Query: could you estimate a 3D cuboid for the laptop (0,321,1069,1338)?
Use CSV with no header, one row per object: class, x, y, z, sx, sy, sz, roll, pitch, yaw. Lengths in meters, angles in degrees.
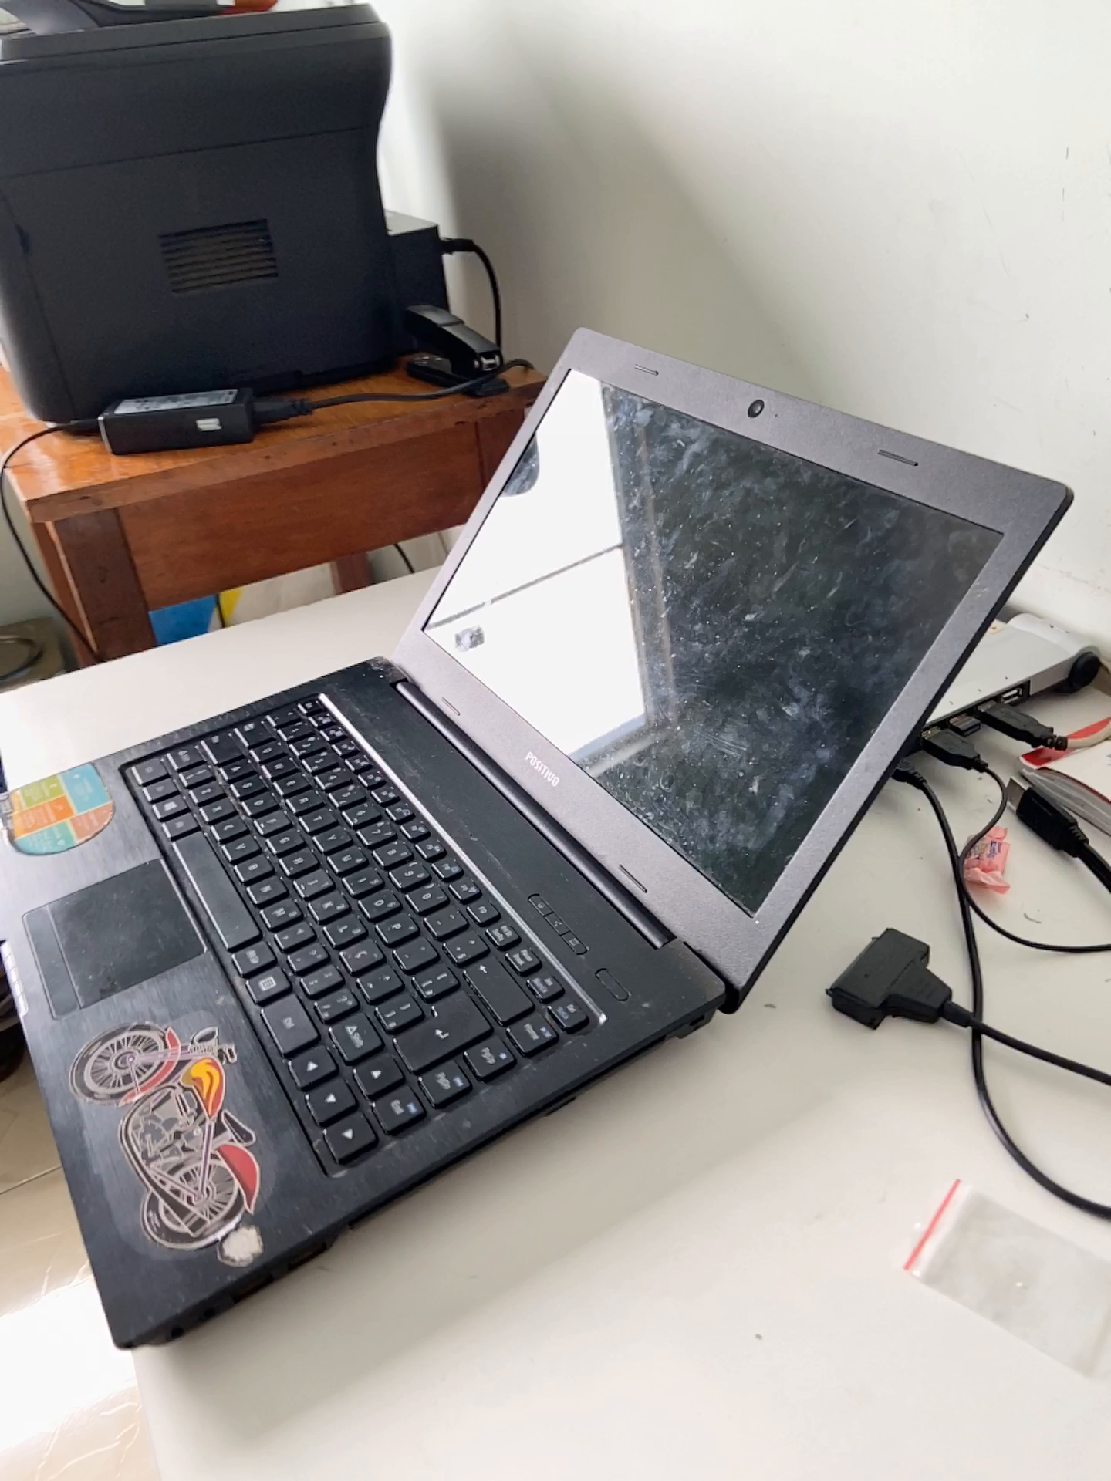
laptop,-0.060,-0.030,0.503,0.393,0.162,0.336,-23,37,-23
